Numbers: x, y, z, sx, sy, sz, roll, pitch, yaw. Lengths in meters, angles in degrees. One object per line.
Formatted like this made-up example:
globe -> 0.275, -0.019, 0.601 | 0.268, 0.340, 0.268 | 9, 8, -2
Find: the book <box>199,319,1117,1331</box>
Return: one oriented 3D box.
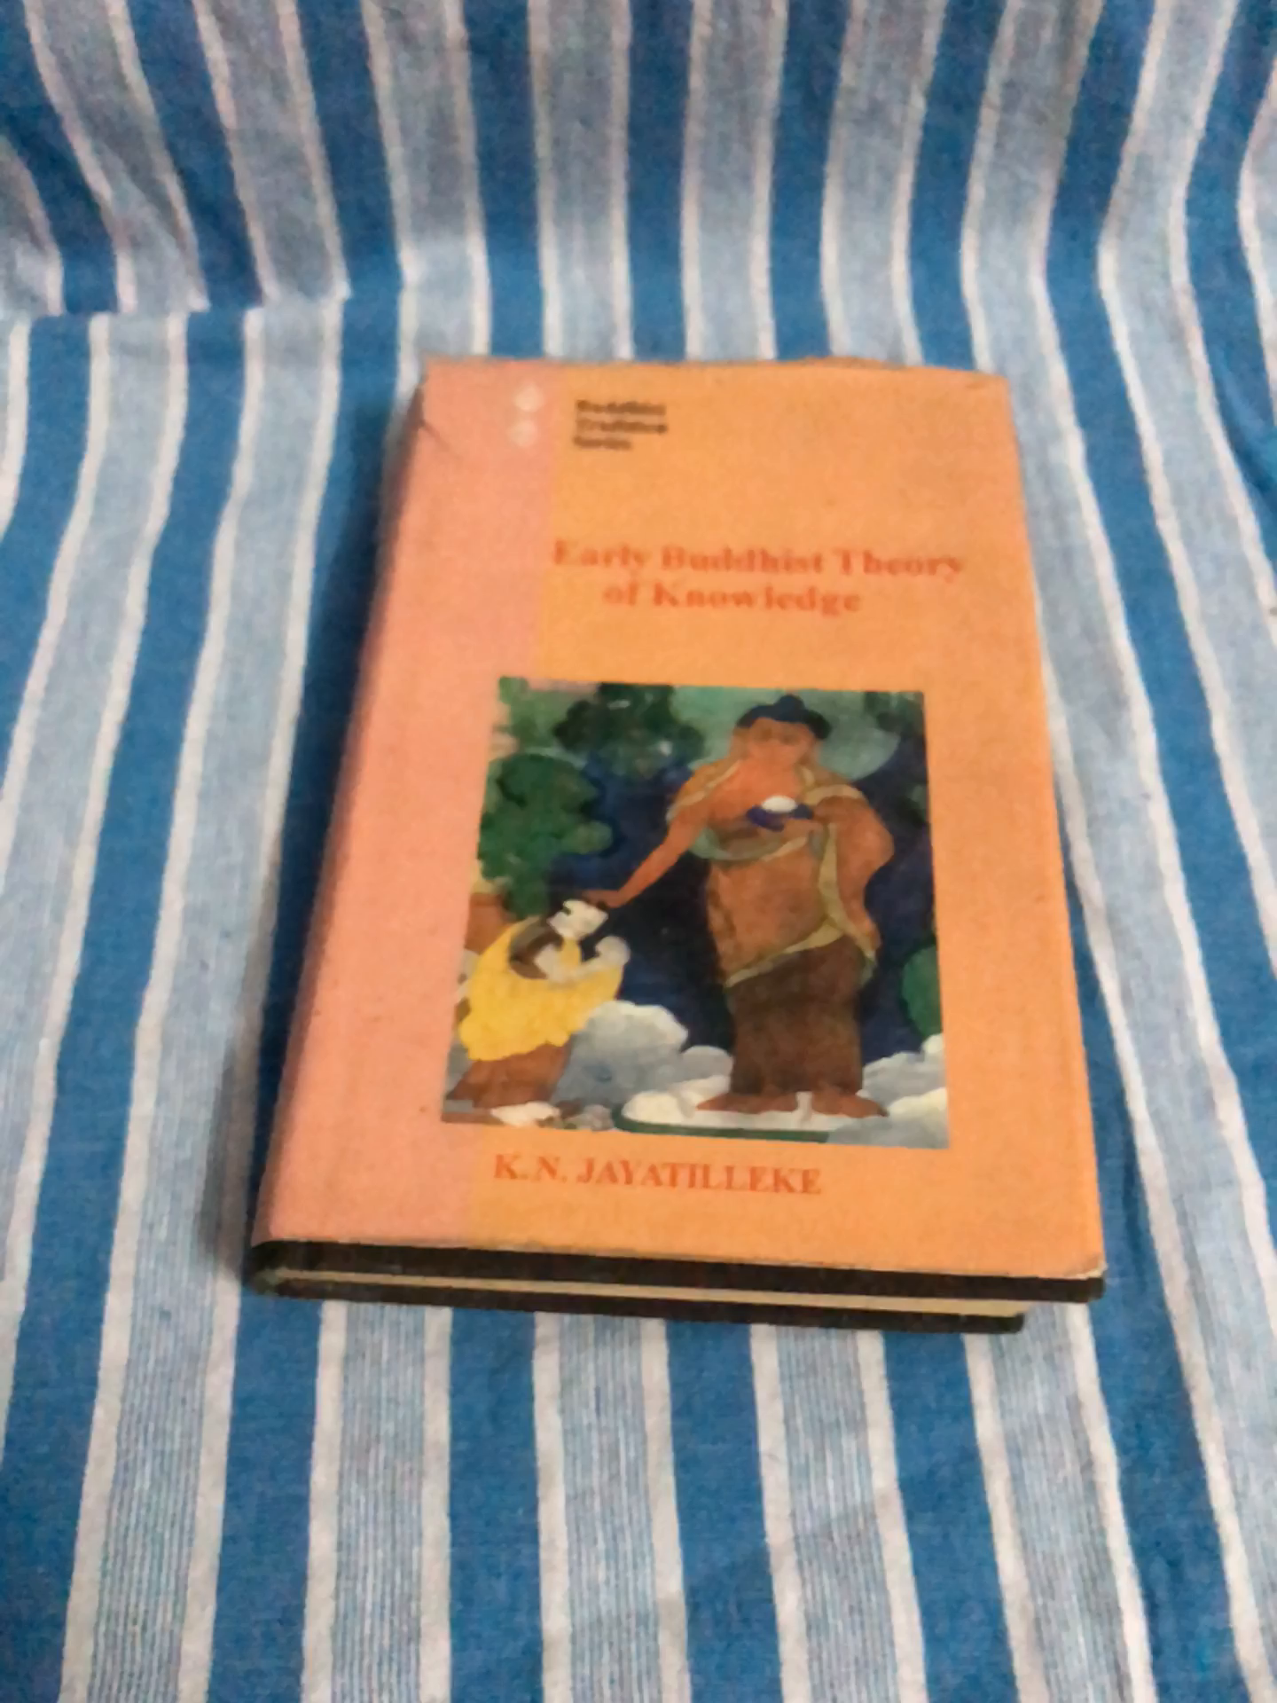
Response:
book -> 0.008, -0.020, 0.301 | 0.150, 0.030, 0.221 | 3, 61, 0
